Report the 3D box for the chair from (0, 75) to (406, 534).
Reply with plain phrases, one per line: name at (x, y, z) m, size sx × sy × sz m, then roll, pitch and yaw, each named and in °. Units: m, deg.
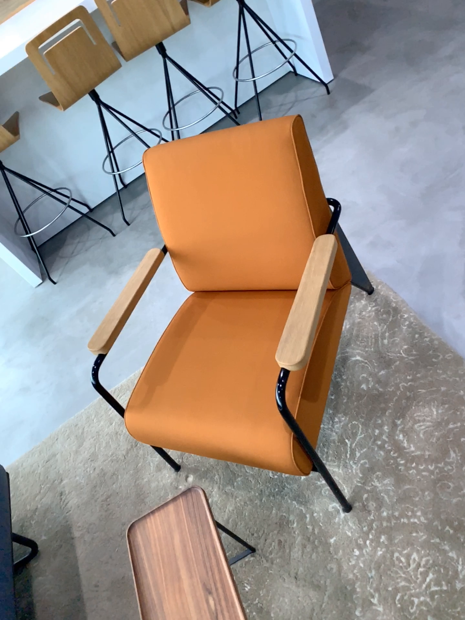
chair at (-0.003, -0.006, 1.363) m, size 0.732 × 0.734 × 0.864 m, roll 1°, pitch 53°, yaw 32°
